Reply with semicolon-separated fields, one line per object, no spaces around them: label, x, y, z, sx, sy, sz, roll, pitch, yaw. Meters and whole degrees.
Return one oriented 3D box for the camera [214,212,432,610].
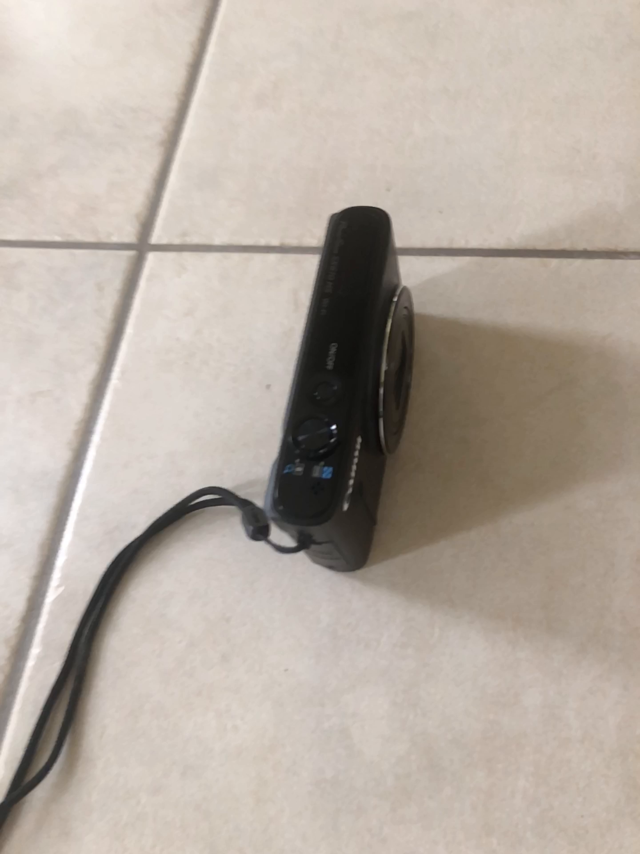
camera;0.007;-0.005;0.229;0.040;0.060;0.110;7;68;14
